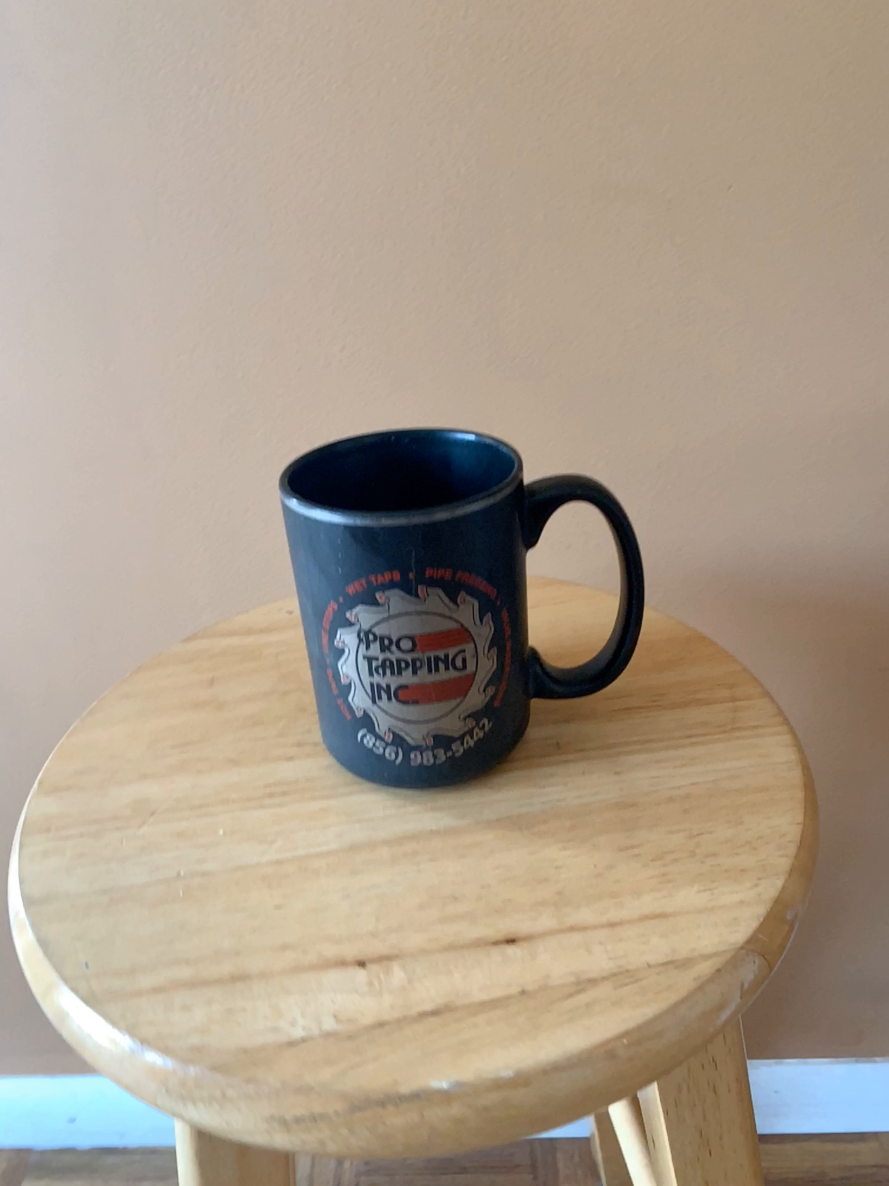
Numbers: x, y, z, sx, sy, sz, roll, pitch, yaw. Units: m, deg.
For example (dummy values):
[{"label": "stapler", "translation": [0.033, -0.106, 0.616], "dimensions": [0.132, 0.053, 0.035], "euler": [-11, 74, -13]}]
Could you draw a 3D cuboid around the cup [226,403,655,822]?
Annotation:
[{"label": "cup", "translation": [-0.002, 0.002, 0.373], "dimensions": [0.140, 0.119, 0.111], "euler": [-5, 27, -3]}]
